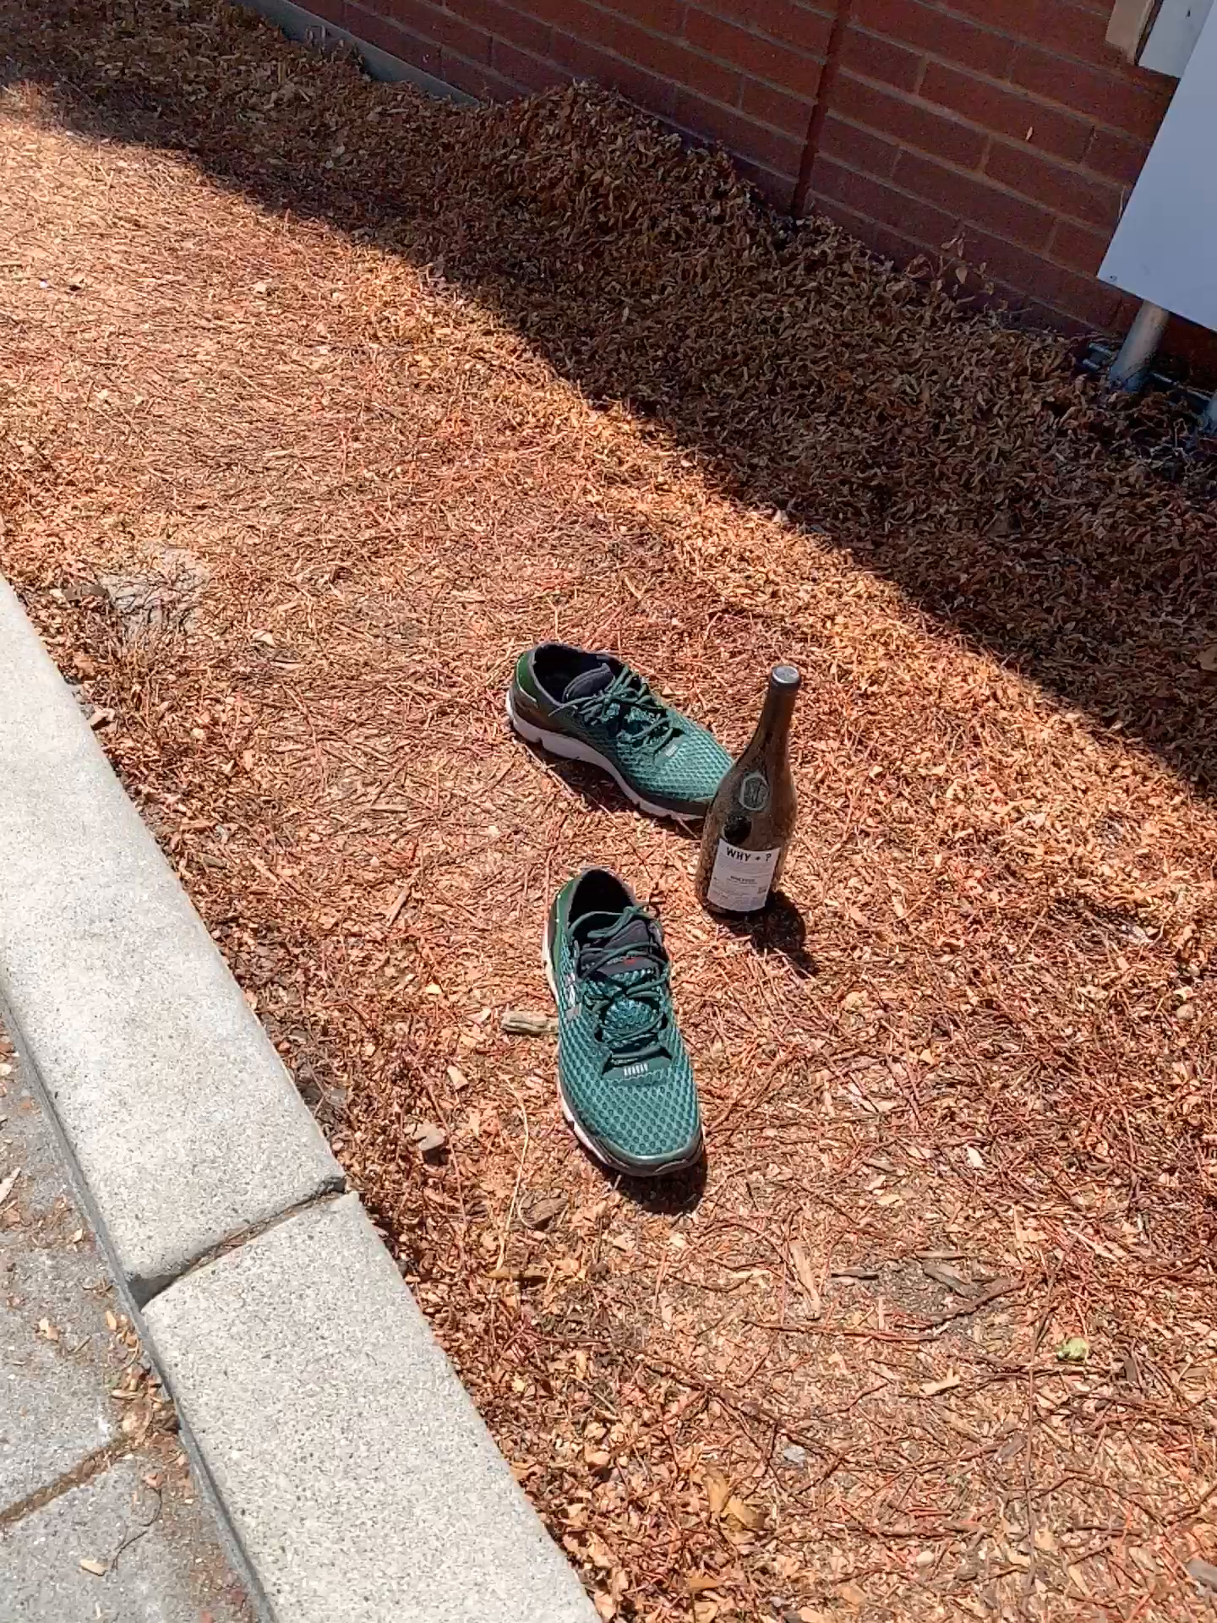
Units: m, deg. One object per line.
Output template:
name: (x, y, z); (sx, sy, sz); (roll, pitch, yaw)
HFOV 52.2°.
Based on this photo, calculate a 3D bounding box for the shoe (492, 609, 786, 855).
shoe: (0.029, -0.090, 1.359); (0.290, 0.100, 0.120); (29, 51, 16)

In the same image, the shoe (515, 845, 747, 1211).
shoe: (0.009, 0.179, 1.087); (0.120, 0.100, 0.291); (-6, 50, -15)
